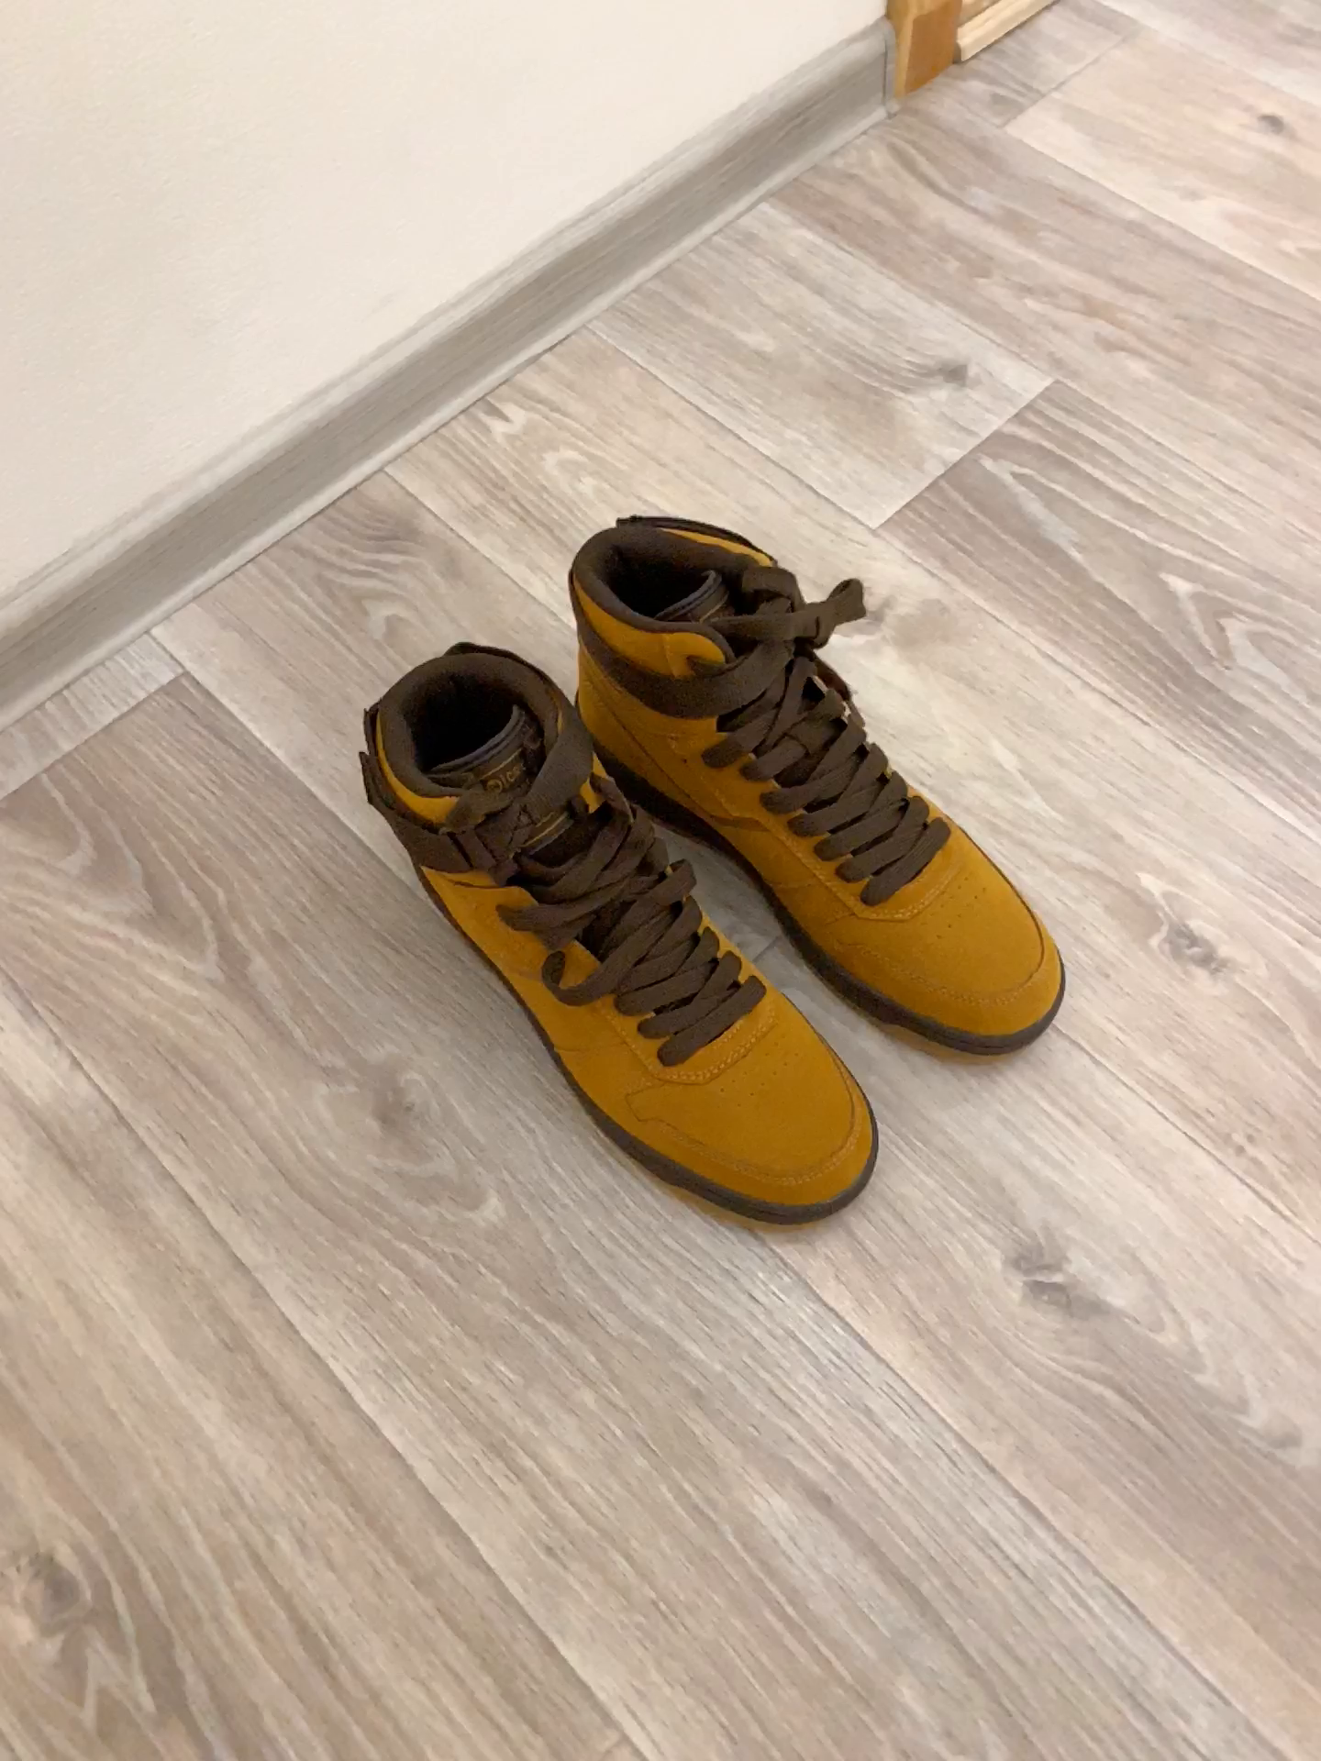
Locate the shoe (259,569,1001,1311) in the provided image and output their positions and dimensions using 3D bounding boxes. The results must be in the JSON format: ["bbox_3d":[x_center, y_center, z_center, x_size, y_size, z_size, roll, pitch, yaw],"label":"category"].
[{"bbox_3d":[-0.018,0.023,0.550,0.280,0.140,0.101,41,70,21],"label":"shoe"}]

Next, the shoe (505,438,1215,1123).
[{"bbox_3d":[0.072,-0.045,0.594,0.280,0.140,0.101,41,70,21],"label":"shoe"}]
